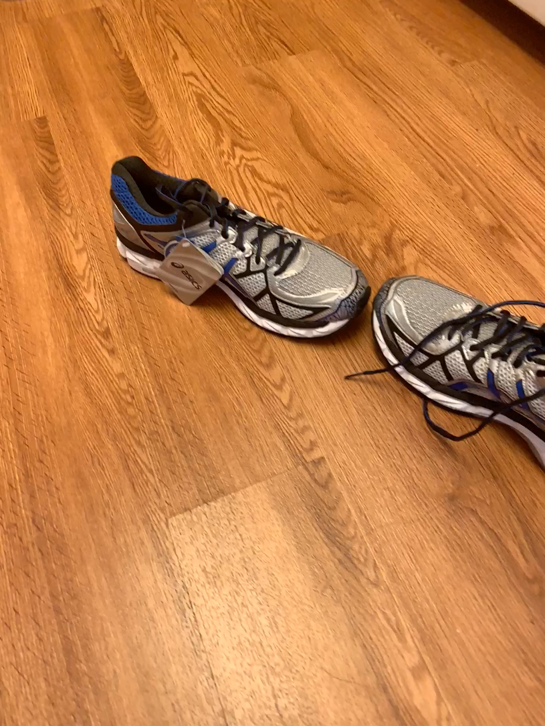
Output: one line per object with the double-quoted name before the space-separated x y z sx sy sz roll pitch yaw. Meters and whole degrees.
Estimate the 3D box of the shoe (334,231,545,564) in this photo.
"shoe" 0.211 0.019 0.481 0.311 0.100 0.100 34 64 22

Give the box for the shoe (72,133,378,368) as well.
"shoe" -0.051 -0.122 0.577 0.291 0.100 0.100 28 62 19
